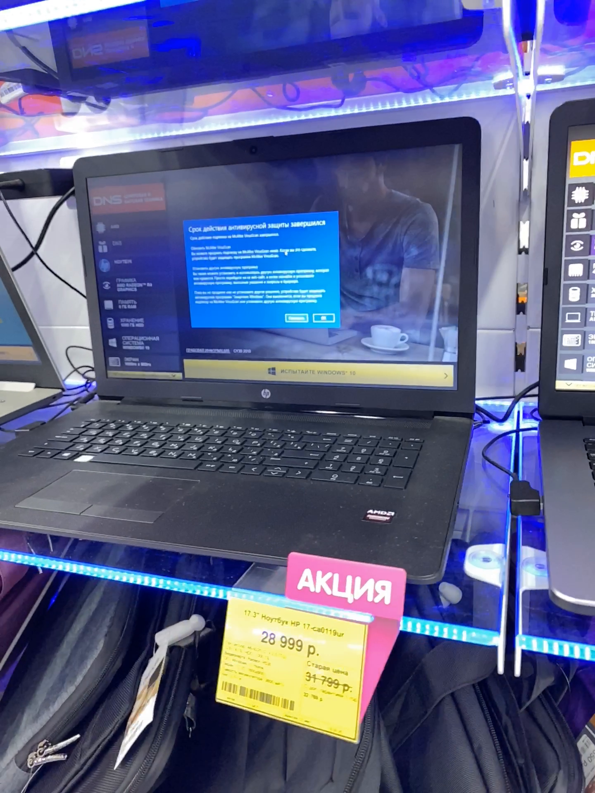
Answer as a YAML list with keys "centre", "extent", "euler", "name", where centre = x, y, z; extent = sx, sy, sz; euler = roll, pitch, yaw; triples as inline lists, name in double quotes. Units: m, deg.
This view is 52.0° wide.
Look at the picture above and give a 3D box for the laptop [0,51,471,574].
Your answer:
- centre: [-0.084, -0.078, 0.501]
  extent: [0.420, 0.260, 0.294]
  euler: [2, 17, 18]
  name: "laptop"
